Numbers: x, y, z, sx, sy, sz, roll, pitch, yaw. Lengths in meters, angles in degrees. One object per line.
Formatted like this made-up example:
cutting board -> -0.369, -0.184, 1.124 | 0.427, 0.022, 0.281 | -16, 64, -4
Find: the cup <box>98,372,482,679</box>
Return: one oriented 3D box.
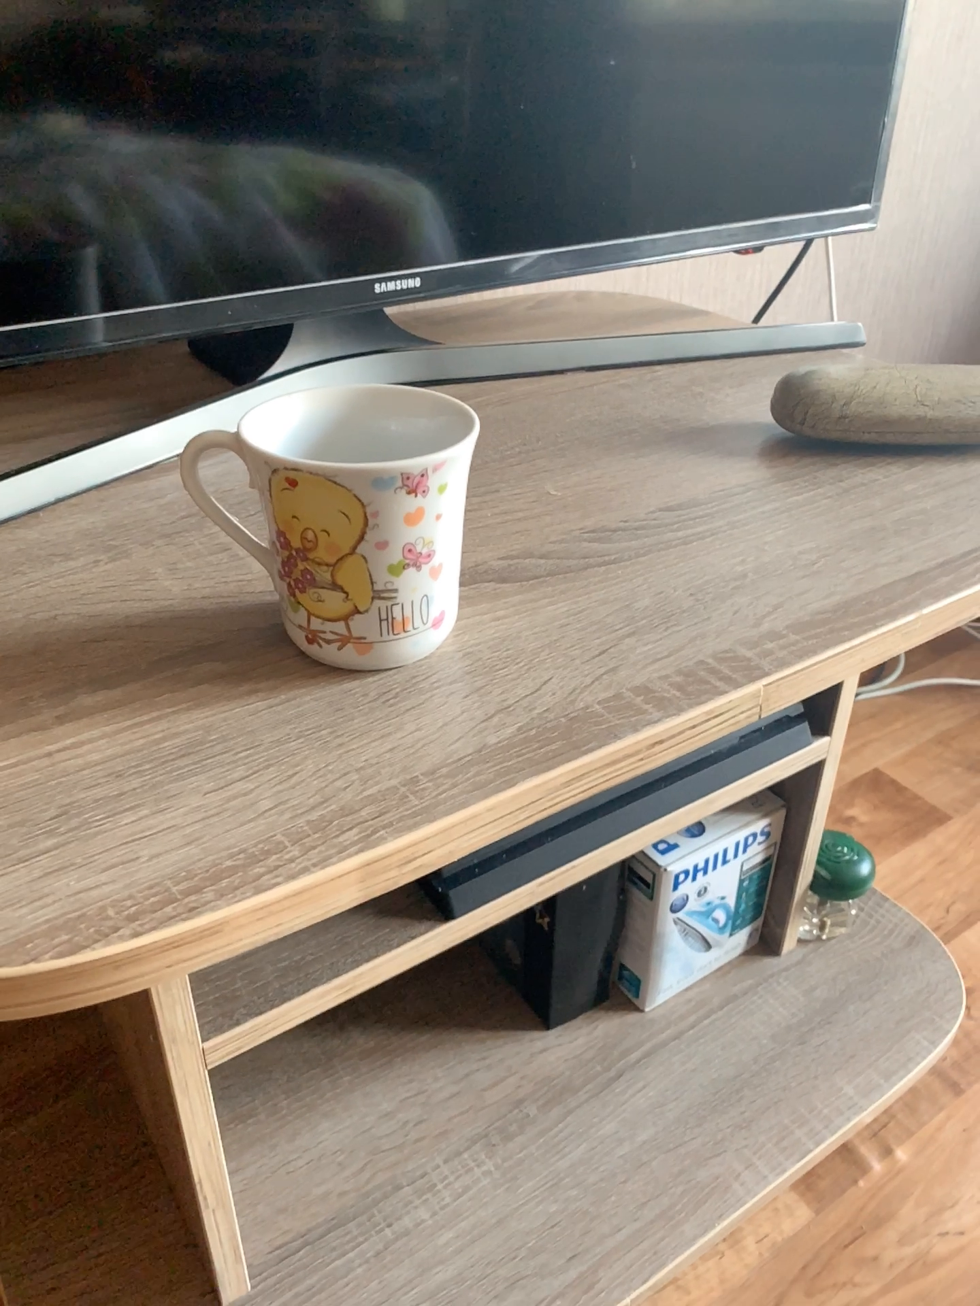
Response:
cup -> -0.061, -0.046, 0.350 | 0.110, 0.080, 0.070 | 3, 31, 3
